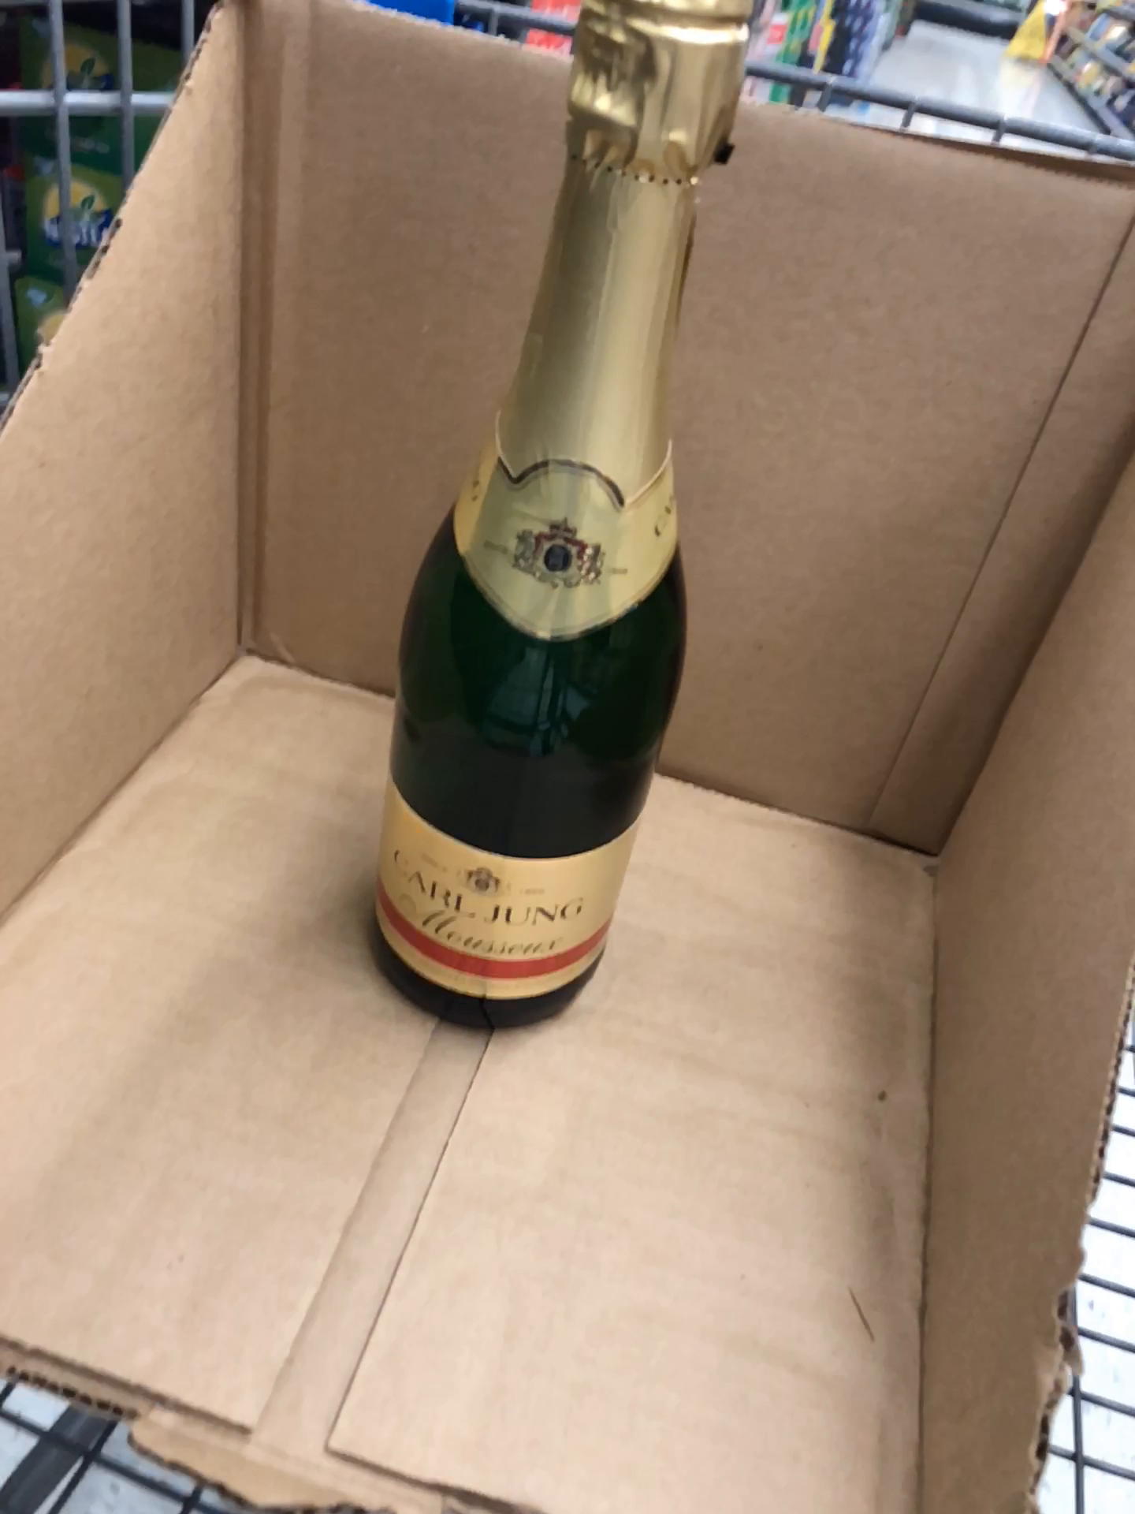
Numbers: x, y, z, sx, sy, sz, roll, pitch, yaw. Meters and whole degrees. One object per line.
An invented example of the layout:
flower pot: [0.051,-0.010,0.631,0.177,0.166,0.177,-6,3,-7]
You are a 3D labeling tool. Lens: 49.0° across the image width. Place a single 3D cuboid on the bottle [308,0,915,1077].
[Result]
bottle: [-0.002,-0.053,0.332,0.090,0.288,0.081,16,35,4]
